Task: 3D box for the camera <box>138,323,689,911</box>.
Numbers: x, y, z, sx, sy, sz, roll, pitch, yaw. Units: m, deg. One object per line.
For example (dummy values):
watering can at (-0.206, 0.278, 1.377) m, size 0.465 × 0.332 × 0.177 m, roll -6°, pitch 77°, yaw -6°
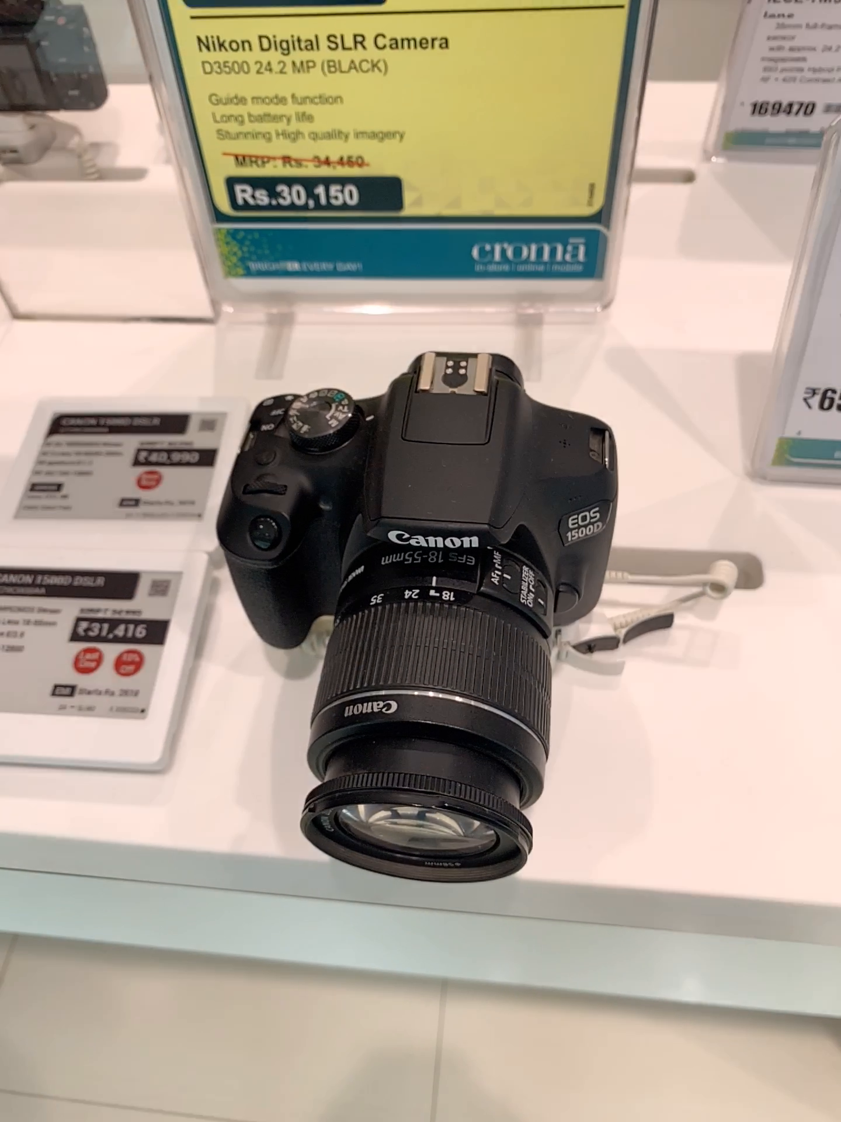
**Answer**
camera at (0.007, 0.012, 0.248) m, size 0.110 × 0.090 × 0.130 m, roll 4°, pitch 52°, yaw 7°
